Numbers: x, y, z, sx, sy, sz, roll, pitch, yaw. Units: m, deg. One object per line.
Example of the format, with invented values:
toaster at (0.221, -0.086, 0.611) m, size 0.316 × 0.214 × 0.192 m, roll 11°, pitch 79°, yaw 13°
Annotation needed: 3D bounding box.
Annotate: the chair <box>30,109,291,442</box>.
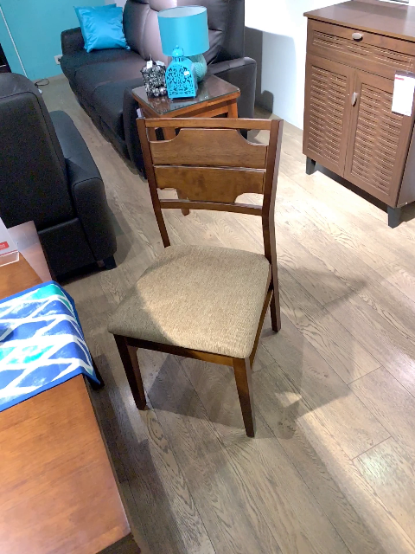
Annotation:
chair at (-0.033, 0.003, 1.302) m, size 0.470 × 0.827 × 0.532 m, roll 8°, pitch 44°, yaw 18°
